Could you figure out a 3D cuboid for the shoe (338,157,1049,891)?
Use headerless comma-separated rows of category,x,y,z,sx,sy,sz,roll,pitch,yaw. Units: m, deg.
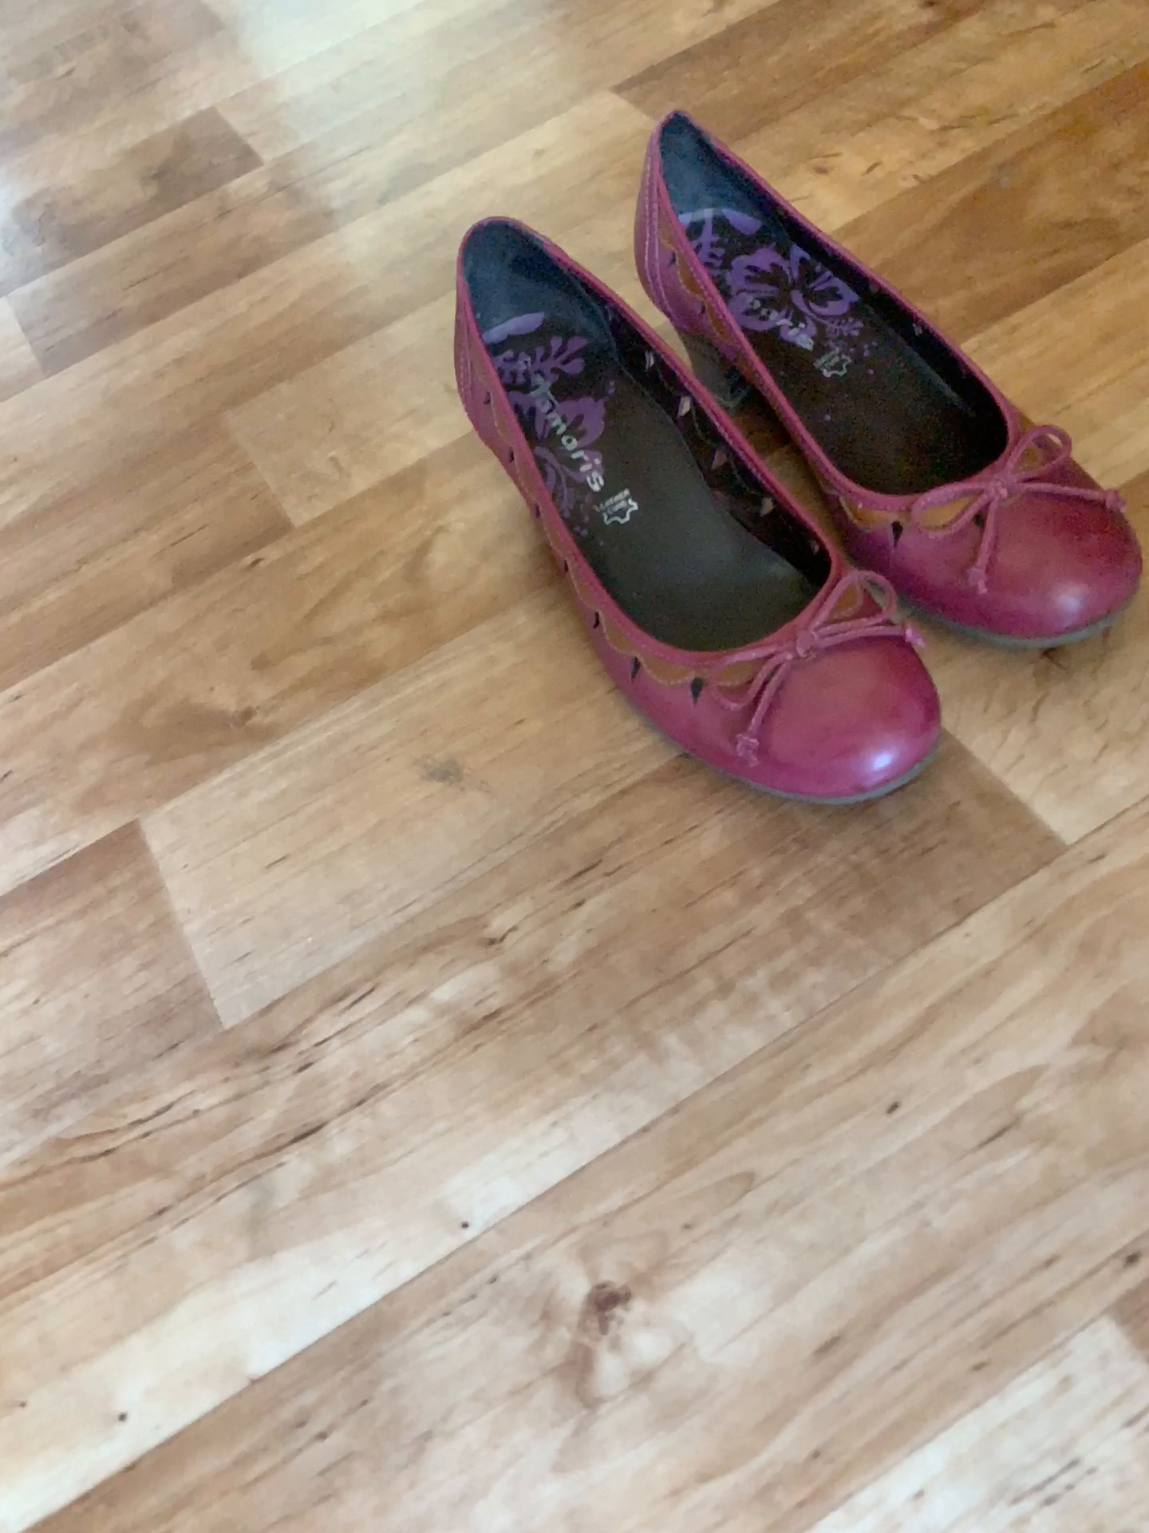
shoe,0.028,-0.092,0.397,0.090,0.110,0.241,-33,55,-10

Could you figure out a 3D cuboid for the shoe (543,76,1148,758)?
shoe,0.103,-0.132,0.412,0.090,0.110,0.241,-35,55,-11
